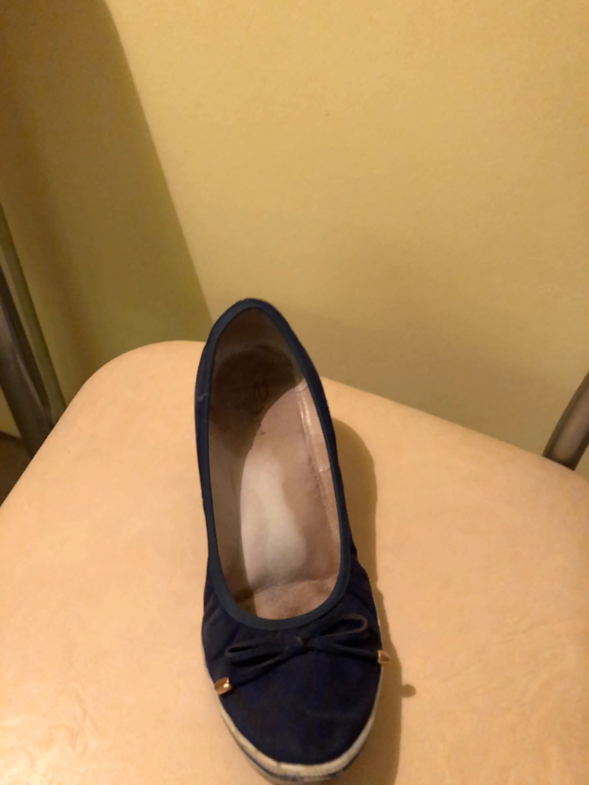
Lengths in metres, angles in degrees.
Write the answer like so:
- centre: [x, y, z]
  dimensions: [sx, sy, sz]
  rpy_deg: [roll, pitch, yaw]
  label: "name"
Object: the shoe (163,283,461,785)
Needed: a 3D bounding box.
- centre: [-0.012, 0.059, 0.339]
  dimensions: [0.090, 0.099, 0.252]
  rpy_deg: [-6, 45, -9]
  label: "shoe"
